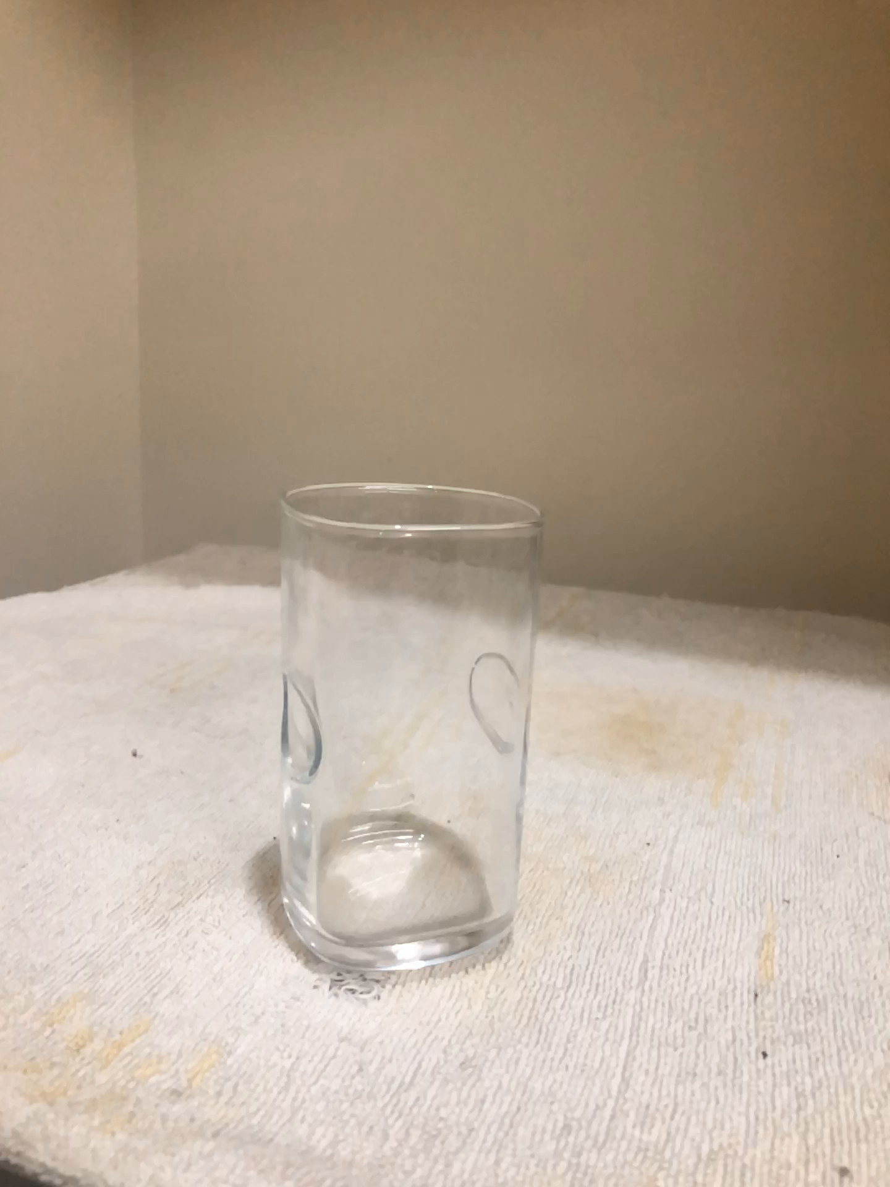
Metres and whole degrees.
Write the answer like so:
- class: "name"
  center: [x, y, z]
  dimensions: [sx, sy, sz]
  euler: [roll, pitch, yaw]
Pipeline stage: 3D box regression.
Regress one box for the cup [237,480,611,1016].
- class: "cup"
  center: [-0.011, 0.030, 0.252]
  dimensions: [0.070, 0.110, 0.070]
  euler: [3, 13, -1]
